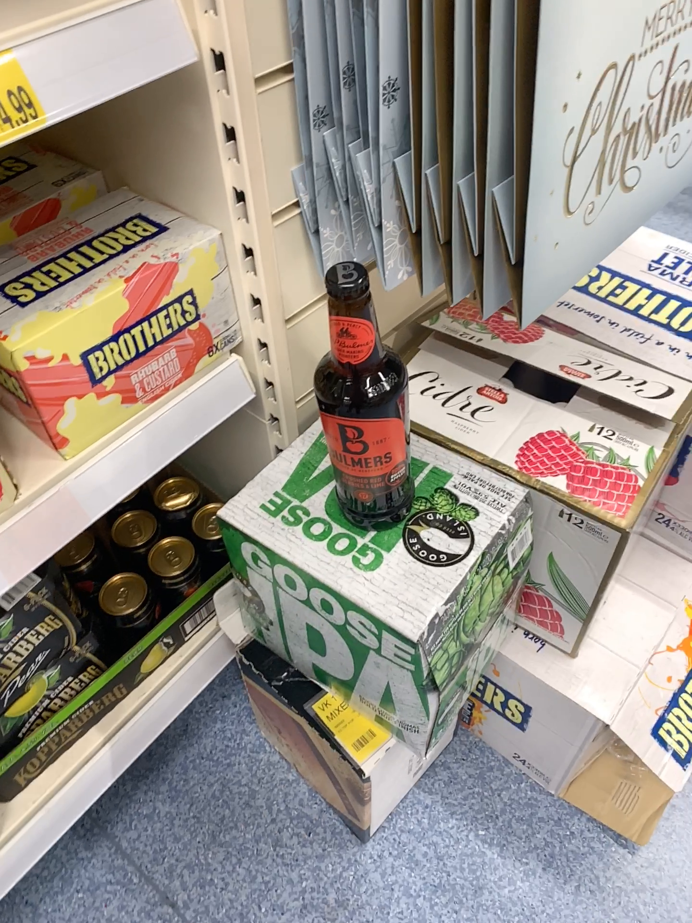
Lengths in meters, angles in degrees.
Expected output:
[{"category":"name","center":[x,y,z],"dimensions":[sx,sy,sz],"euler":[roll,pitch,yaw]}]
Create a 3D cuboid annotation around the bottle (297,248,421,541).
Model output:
[{"category":"bottle","center":[0.019,-0.040,0.543],"dimensions":[0.070,0.234,0.071],"euler":[-3,48,3]}]
